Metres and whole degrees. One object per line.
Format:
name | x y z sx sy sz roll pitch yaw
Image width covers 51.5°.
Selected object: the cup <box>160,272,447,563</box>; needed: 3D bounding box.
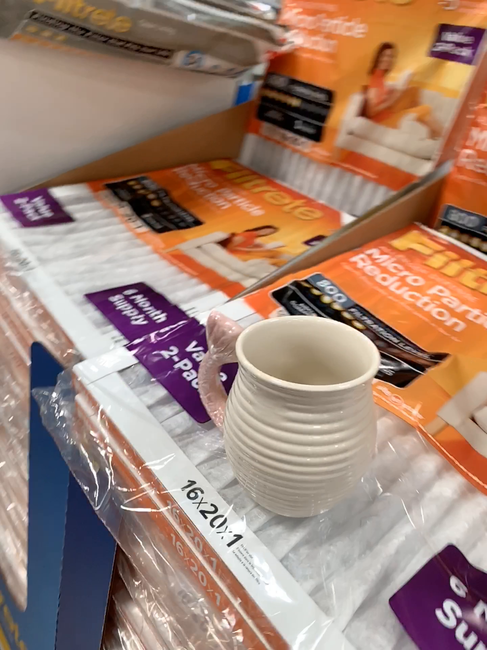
cup | 0.027 0.043 0.320 0.100 0.090 0.141 -18 37 -33
